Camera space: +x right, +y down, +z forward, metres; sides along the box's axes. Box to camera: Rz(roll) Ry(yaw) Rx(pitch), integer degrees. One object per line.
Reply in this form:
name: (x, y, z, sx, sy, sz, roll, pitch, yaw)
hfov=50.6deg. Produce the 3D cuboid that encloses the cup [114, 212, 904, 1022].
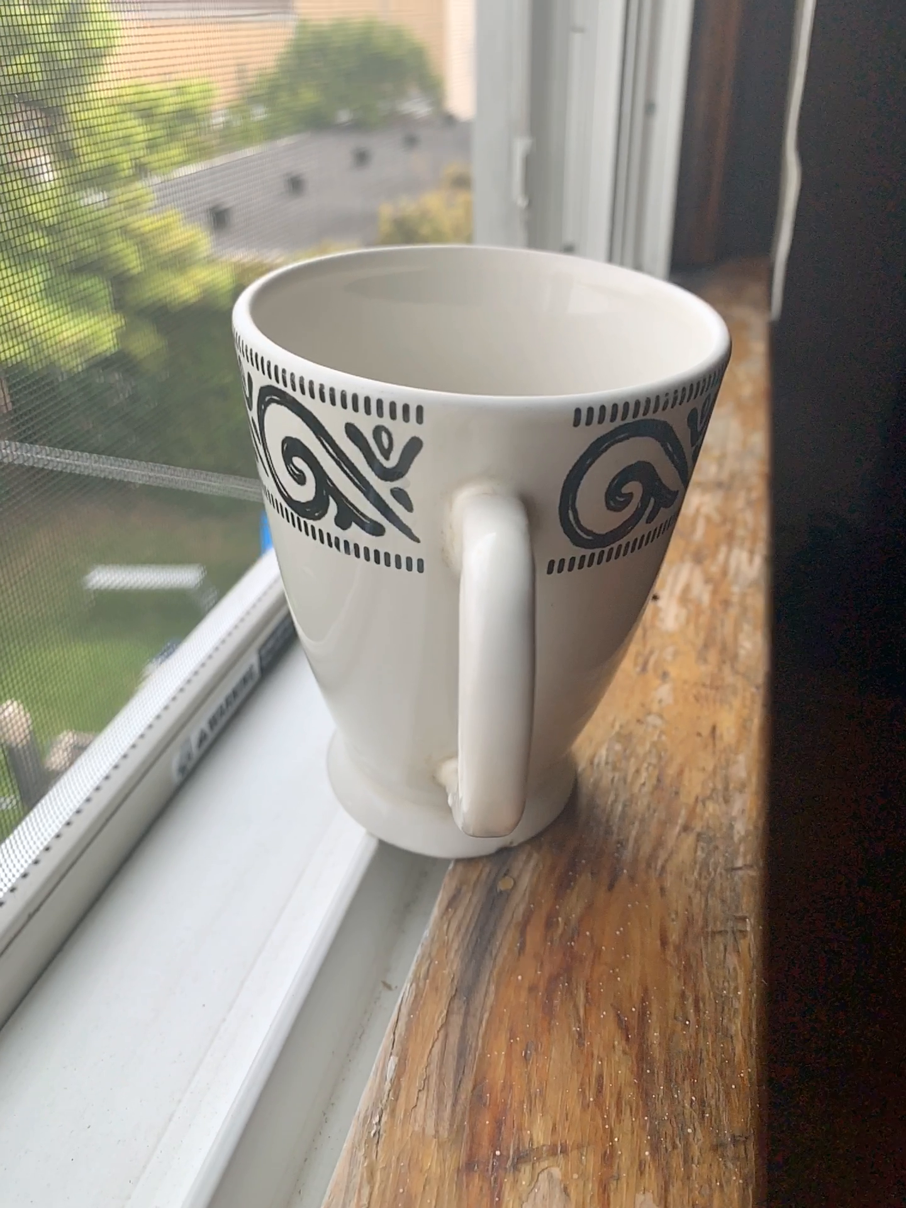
cup: (0.003, -0.010, 0.176, 0.080, 0.089, 0.131, 1, 32, -2)
